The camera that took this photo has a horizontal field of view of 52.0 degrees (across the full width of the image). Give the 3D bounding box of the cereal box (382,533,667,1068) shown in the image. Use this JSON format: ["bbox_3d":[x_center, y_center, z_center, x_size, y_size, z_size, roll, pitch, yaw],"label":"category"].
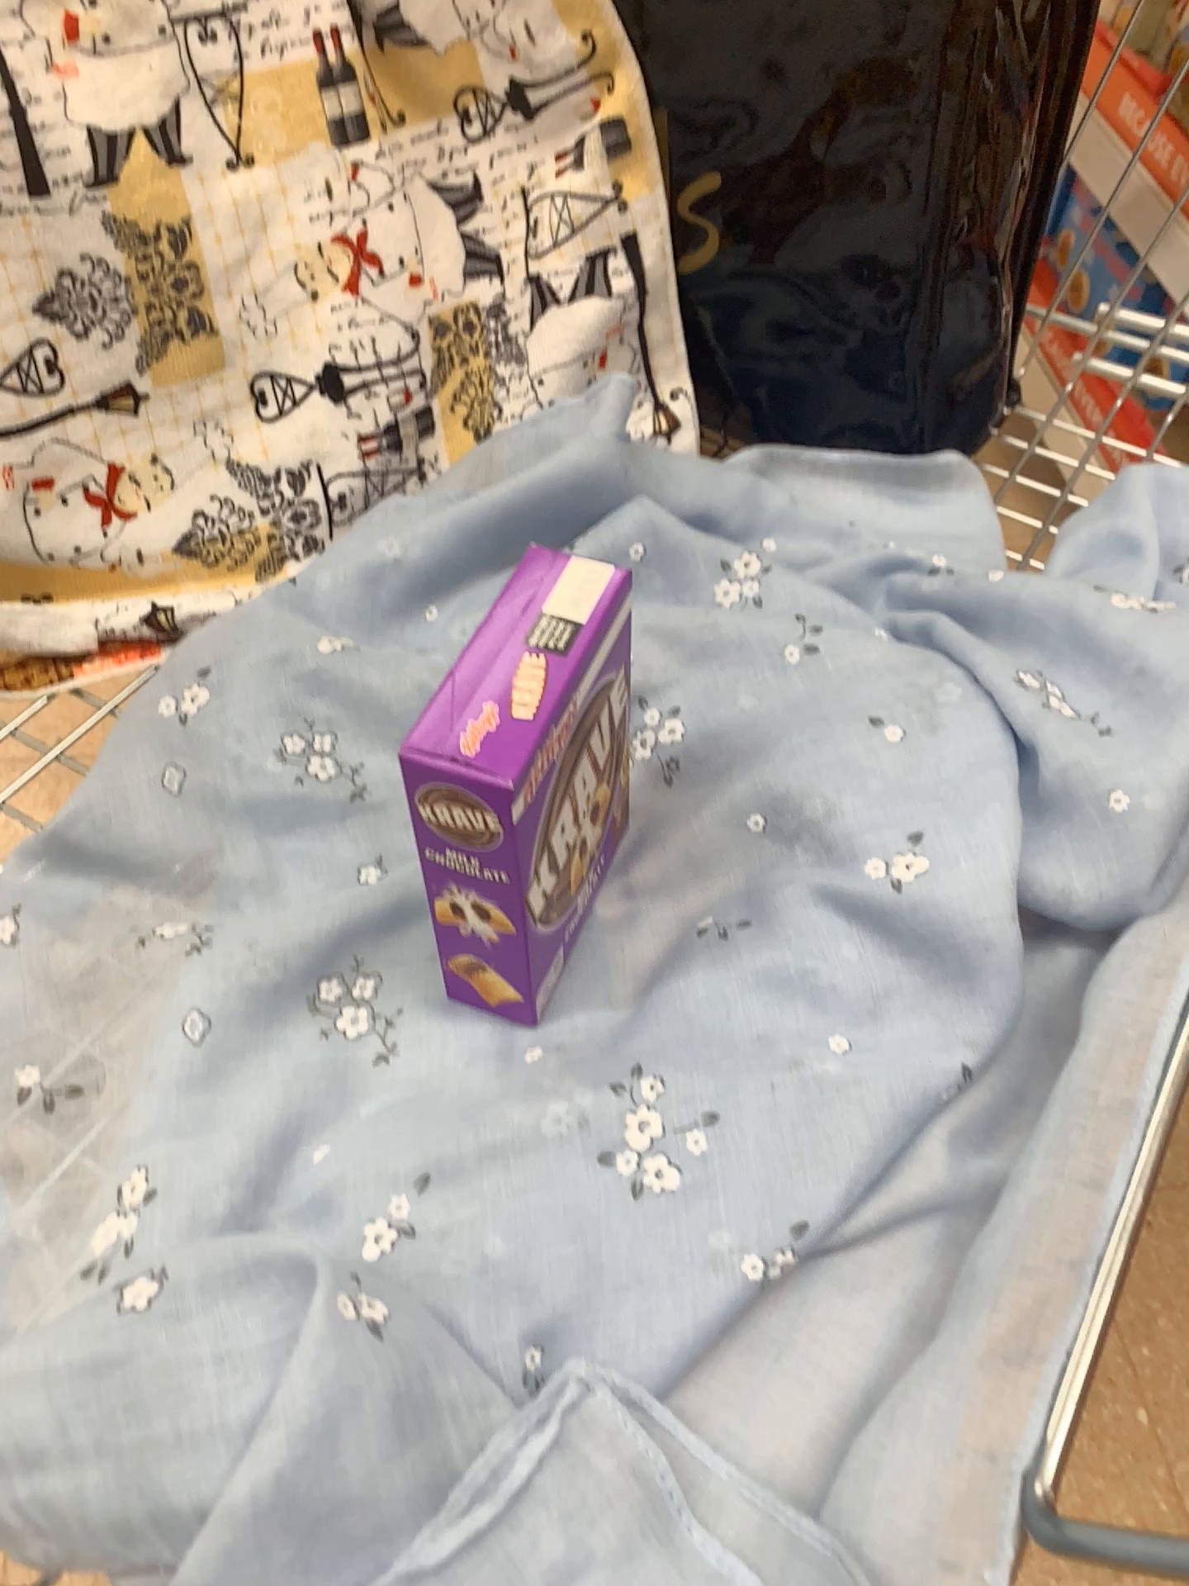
[{"bbox_3d":[-0.014,0.006,0.361,0.040,0.129,0.091,16,52,14],"label":"cereal box"}]
